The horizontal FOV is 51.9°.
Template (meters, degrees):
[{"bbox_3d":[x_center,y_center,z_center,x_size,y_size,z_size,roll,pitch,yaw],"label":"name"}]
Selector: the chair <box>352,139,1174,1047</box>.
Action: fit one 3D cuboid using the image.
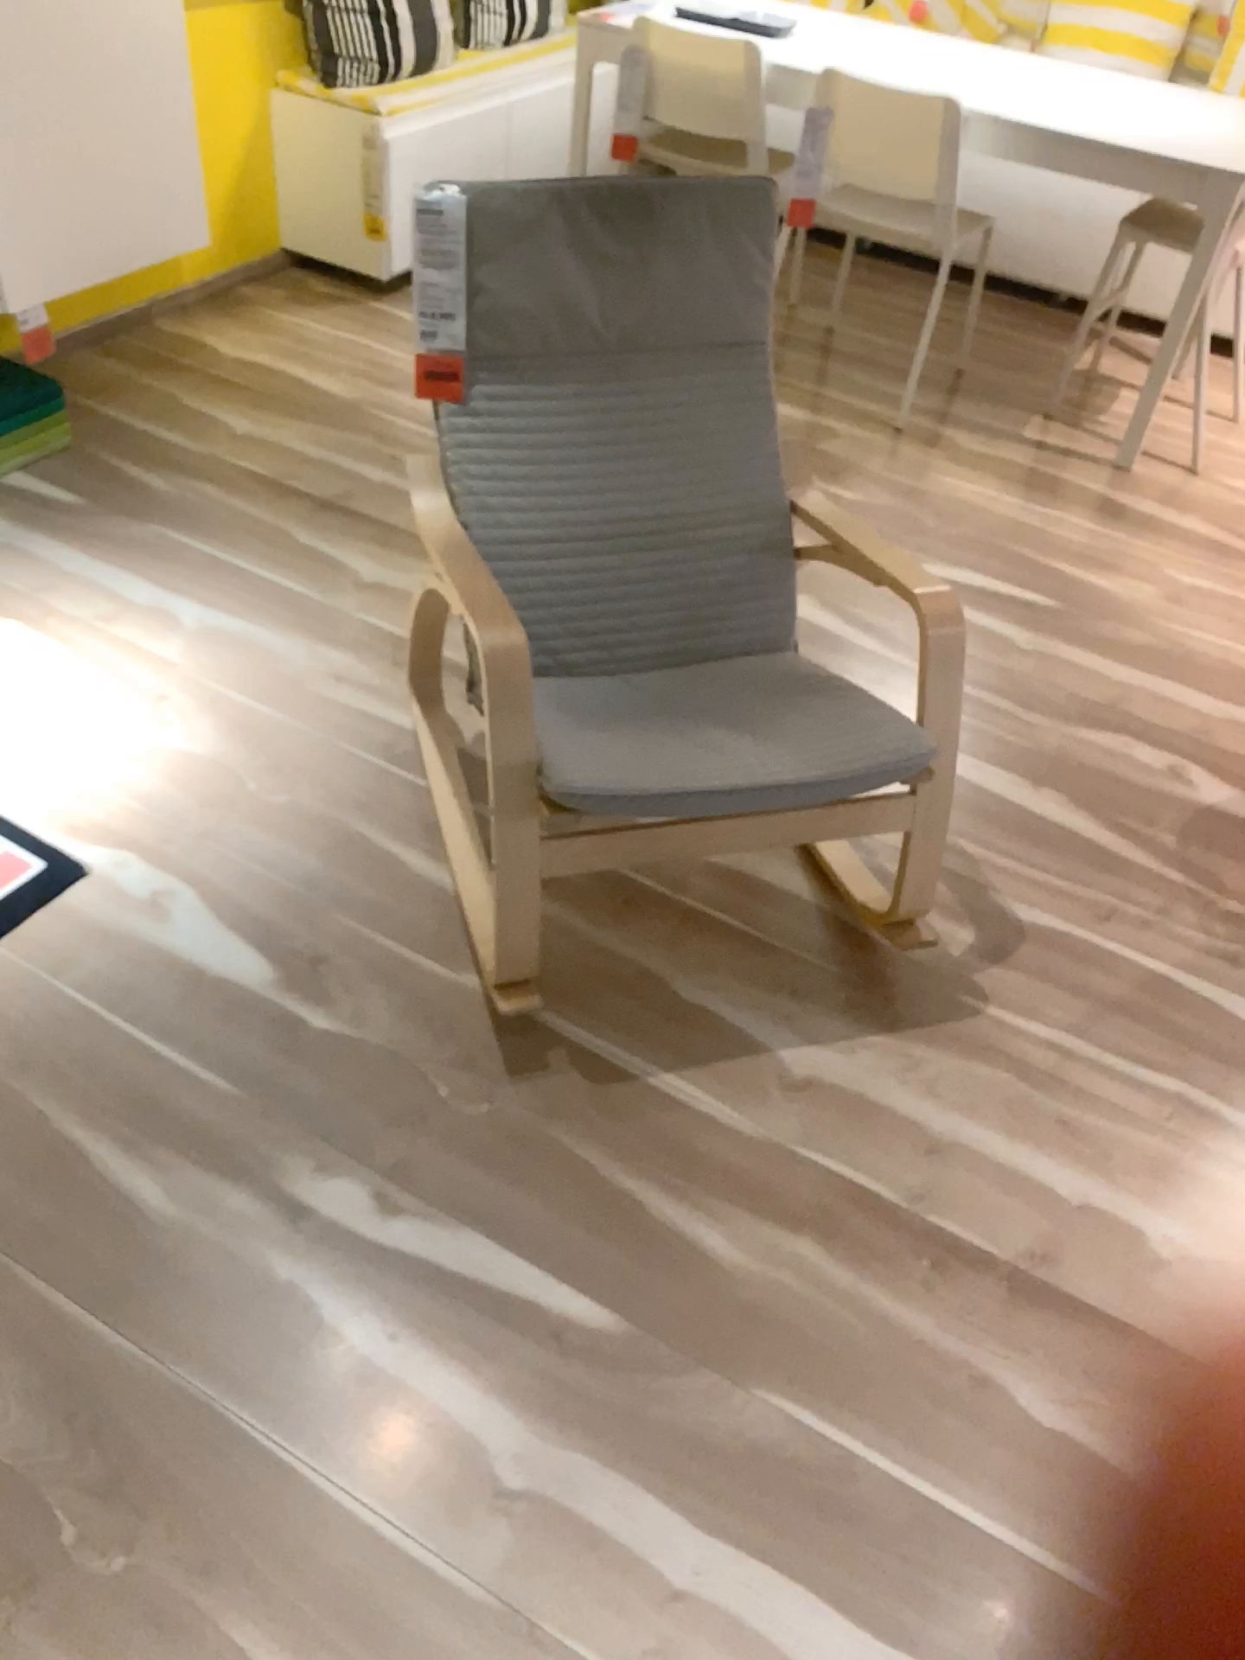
[{"bbox_3d":[0.067,-0.332,1.760,0.730,0.917,0.723,-7,44,-16],"label":"chair"}]
